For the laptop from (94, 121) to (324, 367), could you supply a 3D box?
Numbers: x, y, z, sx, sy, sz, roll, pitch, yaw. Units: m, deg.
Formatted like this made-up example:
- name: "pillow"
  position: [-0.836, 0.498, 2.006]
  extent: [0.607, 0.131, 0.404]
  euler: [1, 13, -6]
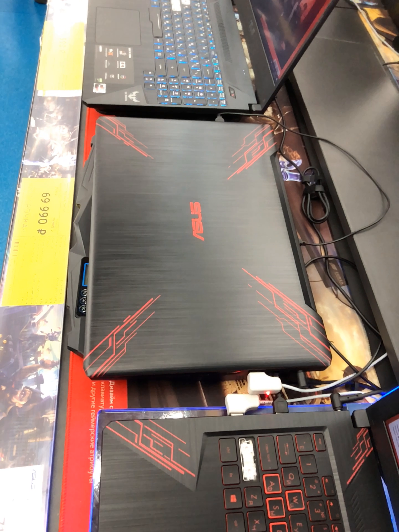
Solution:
- name: "laptop"
  position: [-0.004, -0.054, 0.543]
  extent: [0.239, 0.003, 0.359]
  euler: [0, 57, -11]
